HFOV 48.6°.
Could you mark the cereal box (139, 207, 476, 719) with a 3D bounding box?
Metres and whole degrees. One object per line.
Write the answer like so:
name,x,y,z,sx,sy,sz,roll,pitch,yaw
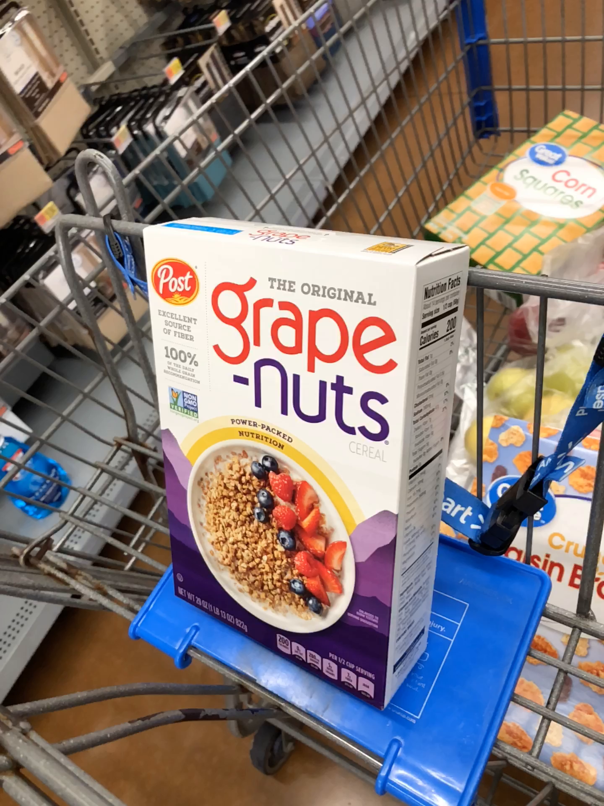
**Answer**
cereal box,-0.006,0.027,0.378,0.170,0.250,0.050,16,26,33
